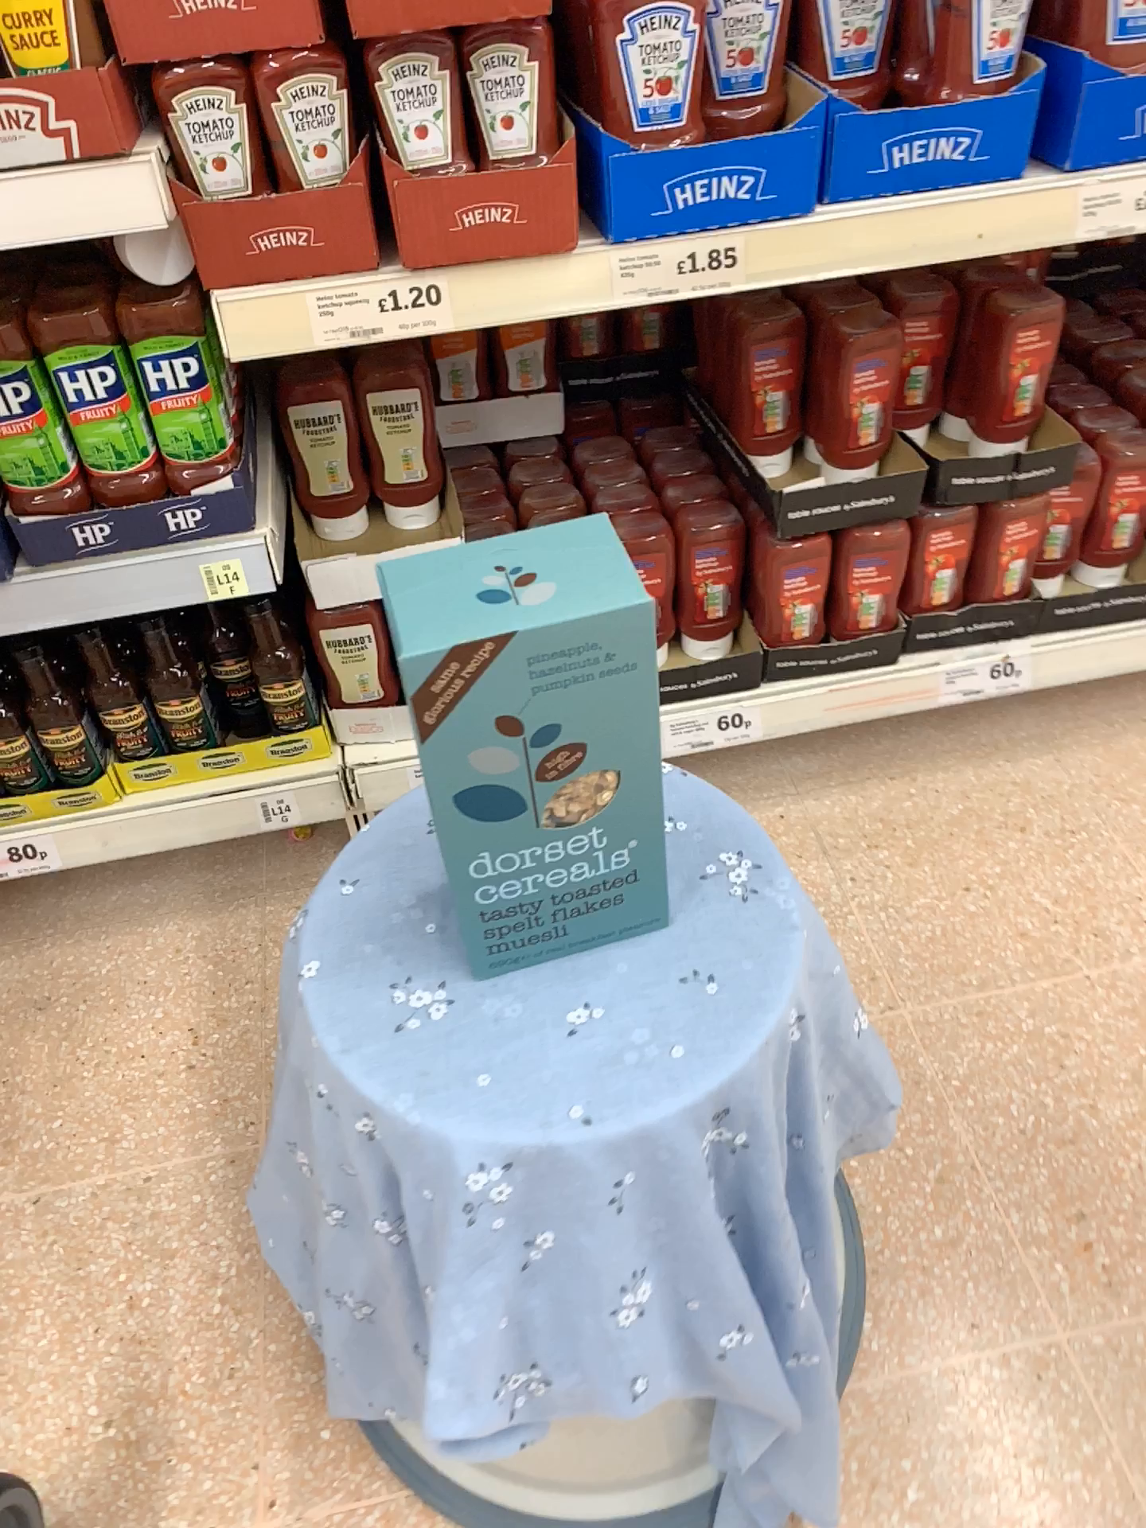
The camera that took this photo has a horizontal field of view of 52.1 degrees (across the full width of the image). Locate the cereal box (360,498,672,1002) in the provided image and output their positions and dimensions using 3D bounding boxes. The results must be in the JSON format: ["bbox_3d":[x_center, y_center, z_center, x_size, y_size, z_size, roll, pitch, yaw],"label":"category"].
[{"bbox_3d":[-0.022,0.001,0.611,0.120,0.238,0.091,-14,43,-9],"label":"cereal box"}]
